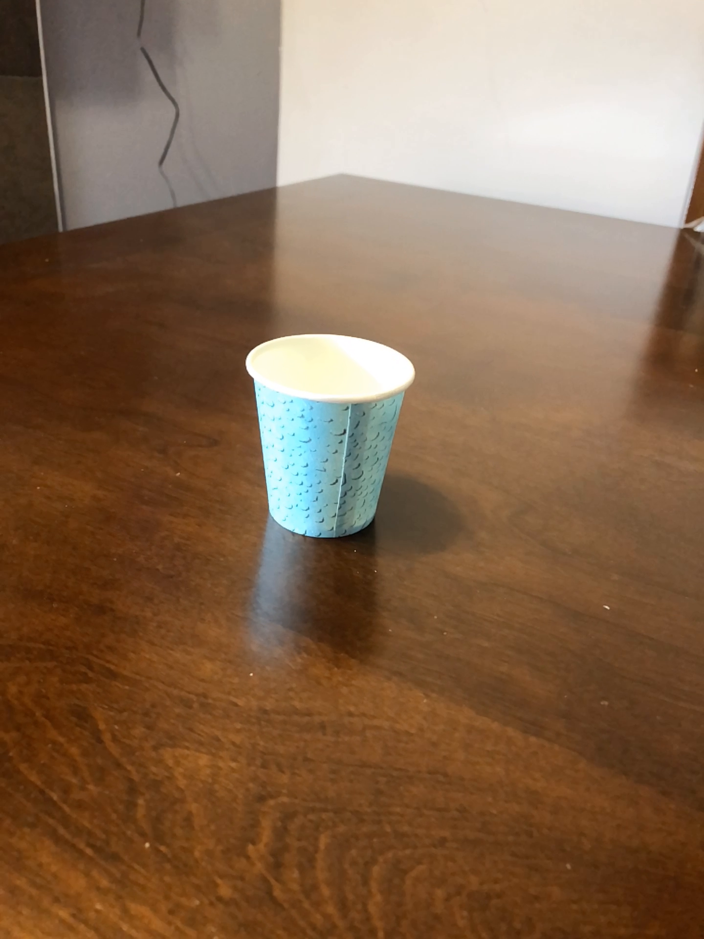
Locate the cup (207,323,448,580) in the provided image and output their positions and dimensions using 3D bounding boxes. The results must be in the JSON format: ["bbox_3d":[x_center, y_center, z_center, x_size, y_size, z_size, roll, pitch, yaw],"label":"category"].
[{"bbox_3d":[-0.008,-0.010,0.281,0.060,0.060,0.060,3,28,-2],"label":"cup"}]
